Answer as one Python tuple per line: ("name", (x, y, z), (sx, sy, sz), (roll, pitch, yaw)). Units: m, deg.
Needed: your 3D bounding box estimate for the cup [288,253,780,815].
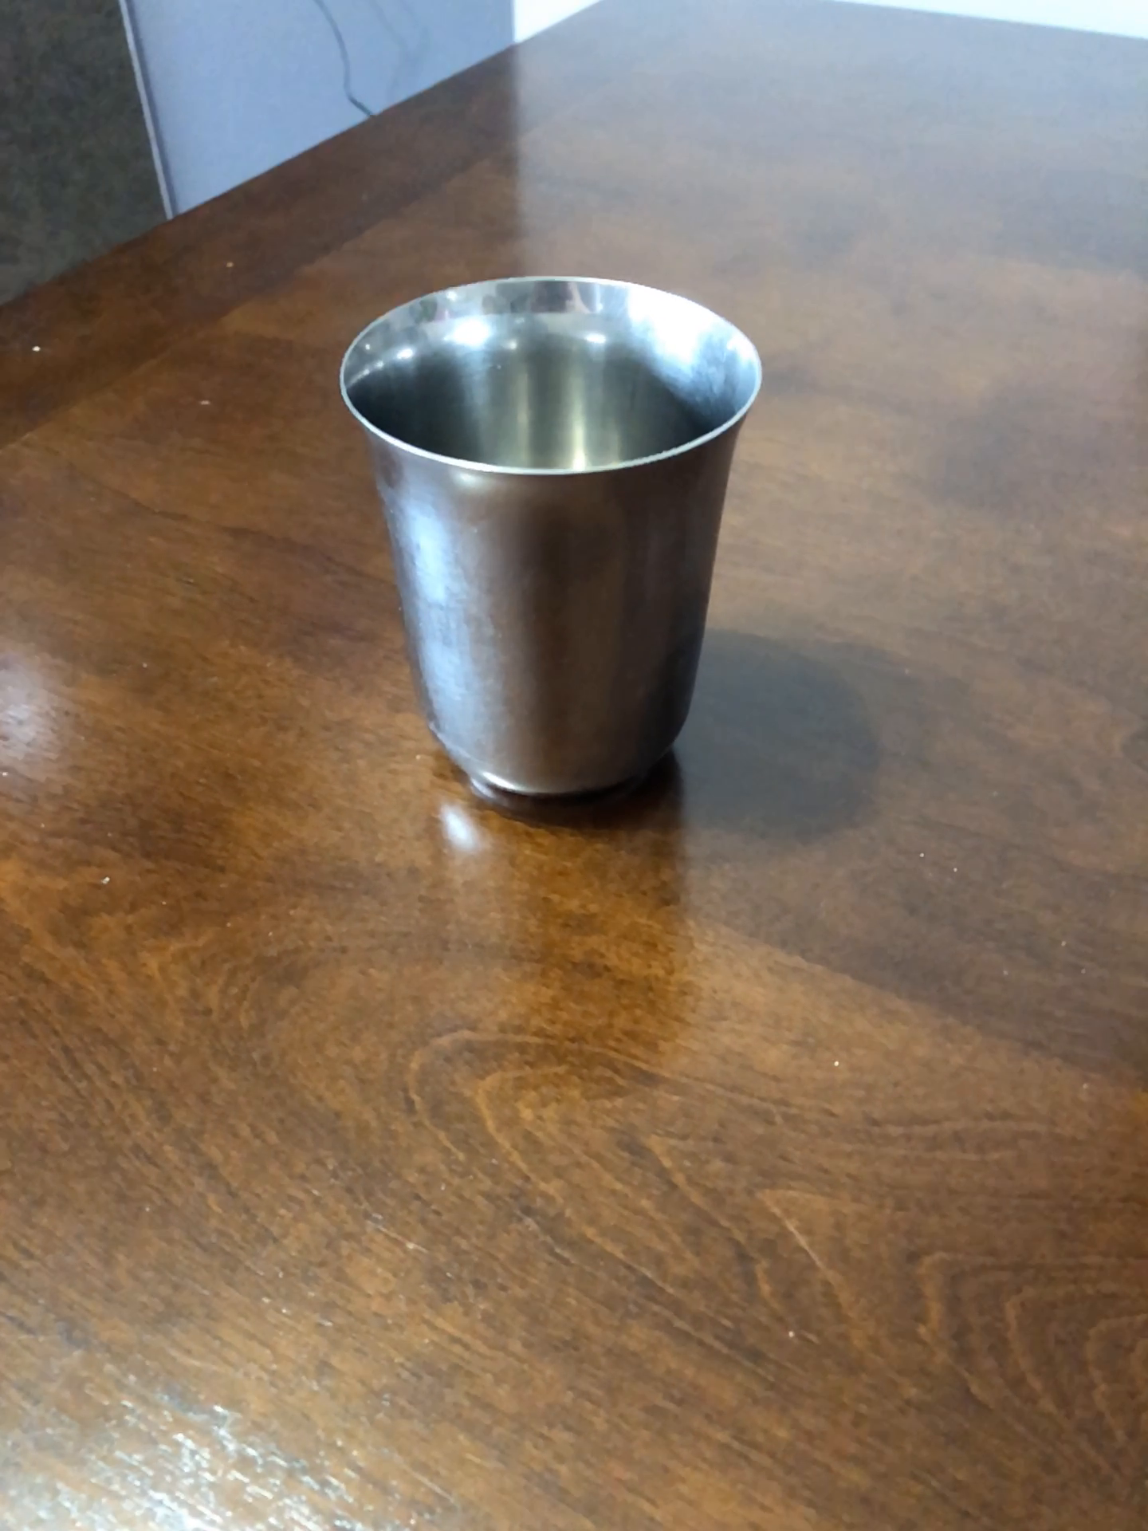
("cup", (-0.003, -0.050, 0.270), (0.080, 0.080, 0.080), (0, 43, 0))
